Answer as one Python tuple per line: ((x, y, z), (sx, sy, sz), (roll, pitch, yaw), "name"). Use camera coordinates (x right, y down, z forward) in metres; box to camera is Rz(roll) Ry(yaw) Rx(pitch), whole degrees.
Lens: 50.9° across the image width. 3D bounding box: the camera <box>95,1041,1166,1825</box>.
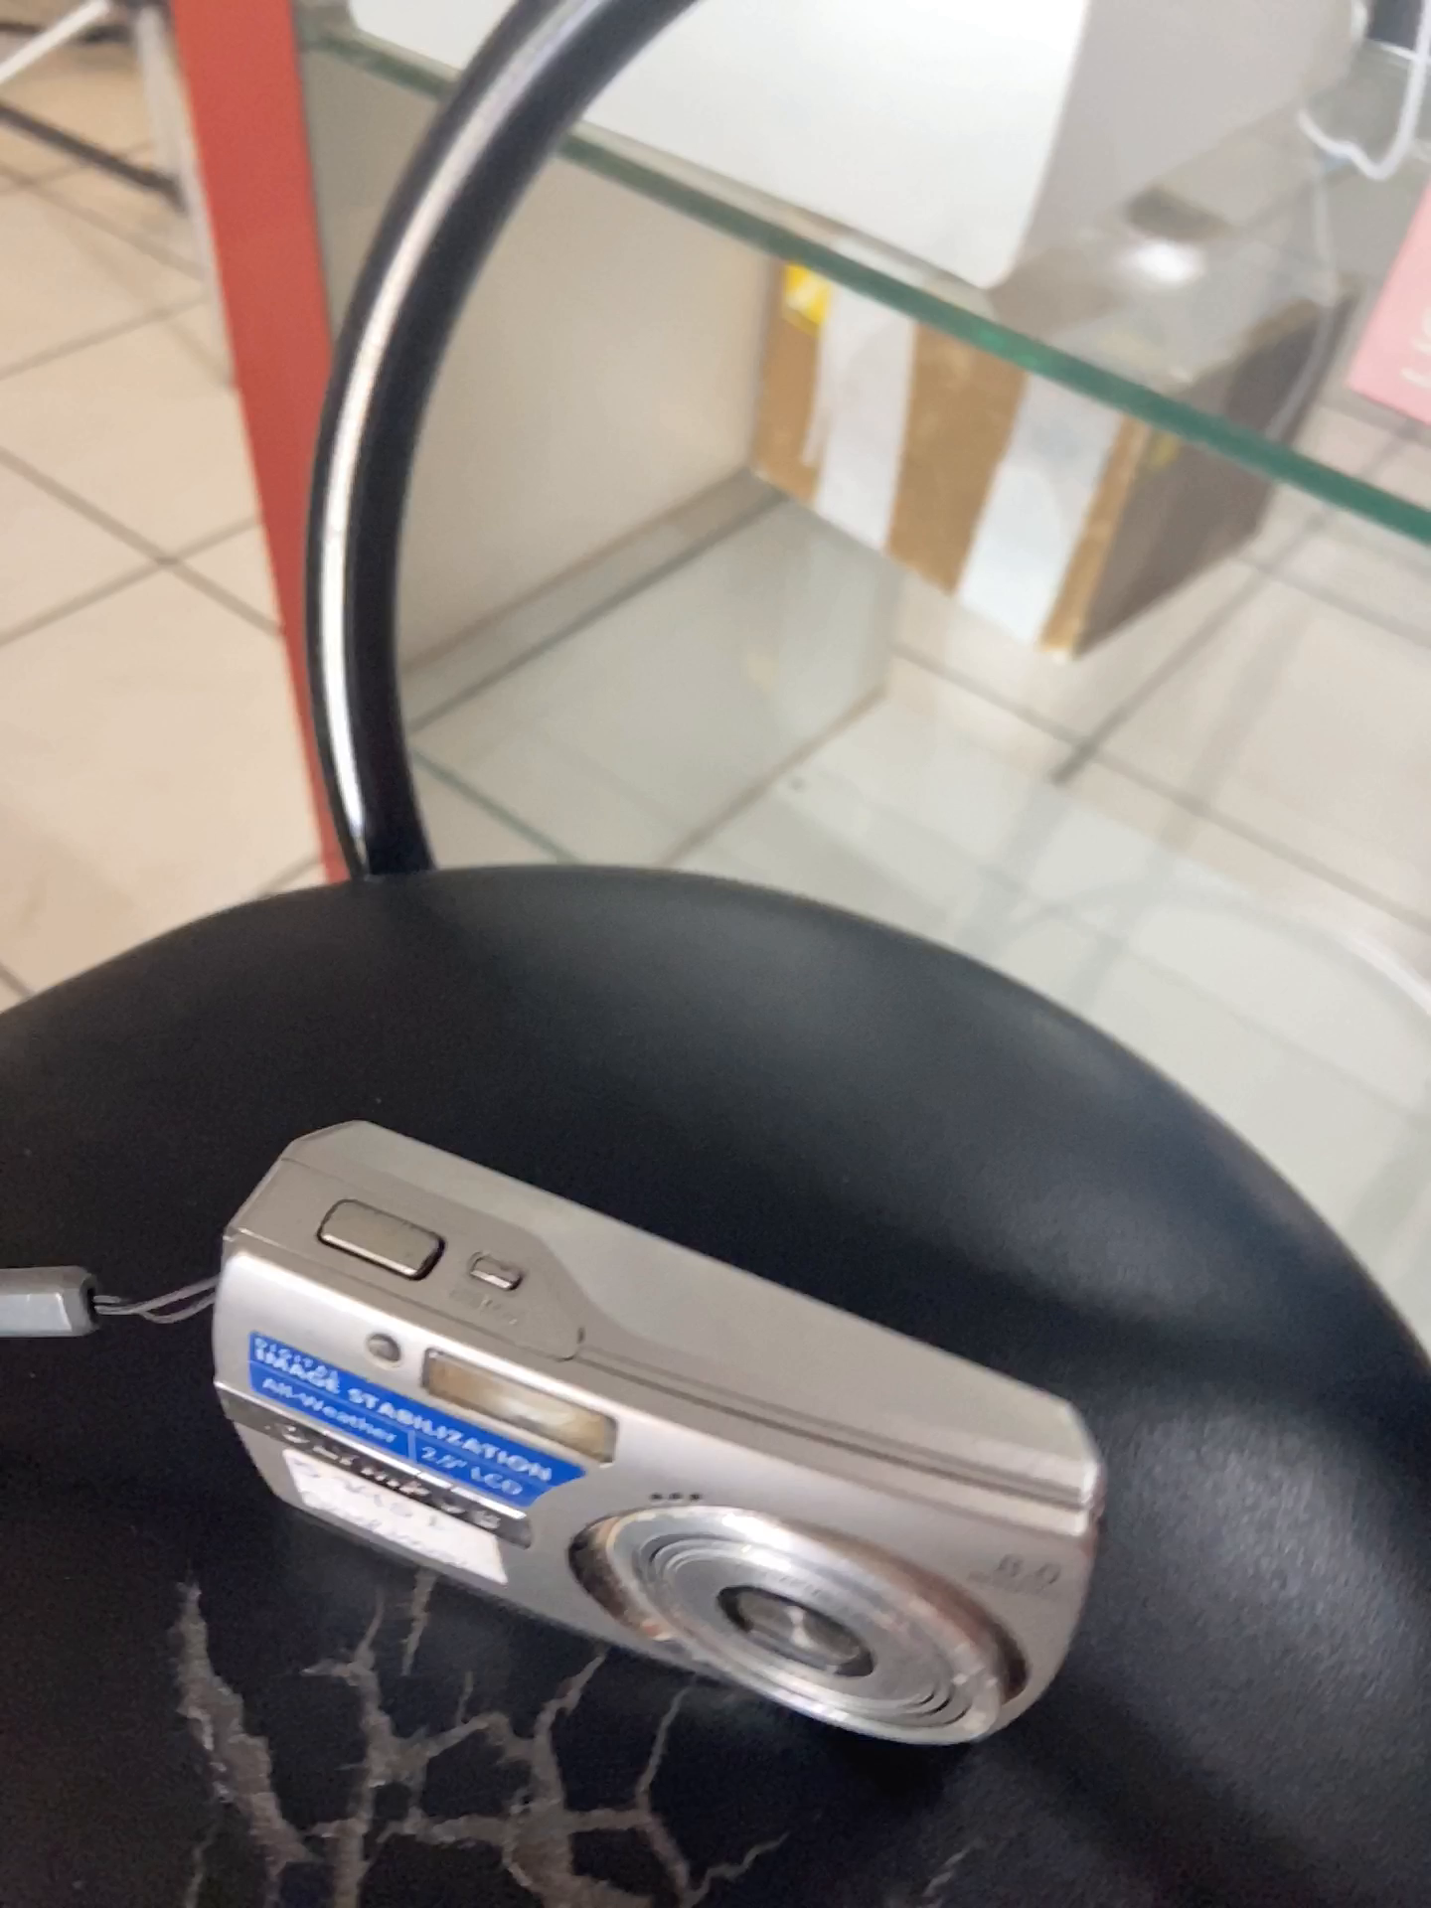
((-0.010, 0.055, 0.168), (0.100, 0.060, 0.030), (17, 48, 9), "camera")
